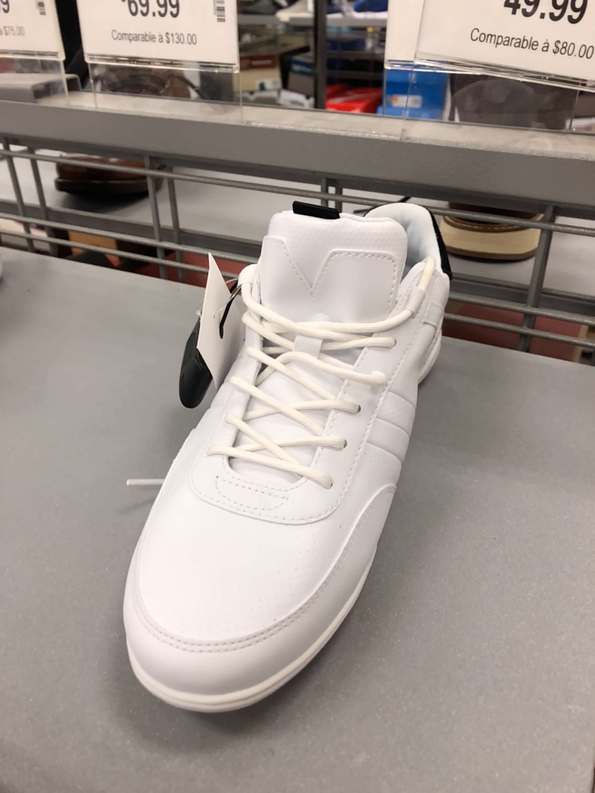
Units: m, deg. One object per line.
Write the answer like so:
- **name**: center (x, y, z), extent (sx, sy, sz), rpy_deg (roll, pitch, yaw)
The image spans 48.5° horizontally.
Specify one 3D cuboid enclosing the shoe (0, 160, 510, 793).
- **shoe**: center (0.014, -0.006, 0.290), extent (0.110, 0.119, 0.272), rpy_deg (11, 35, 17)
